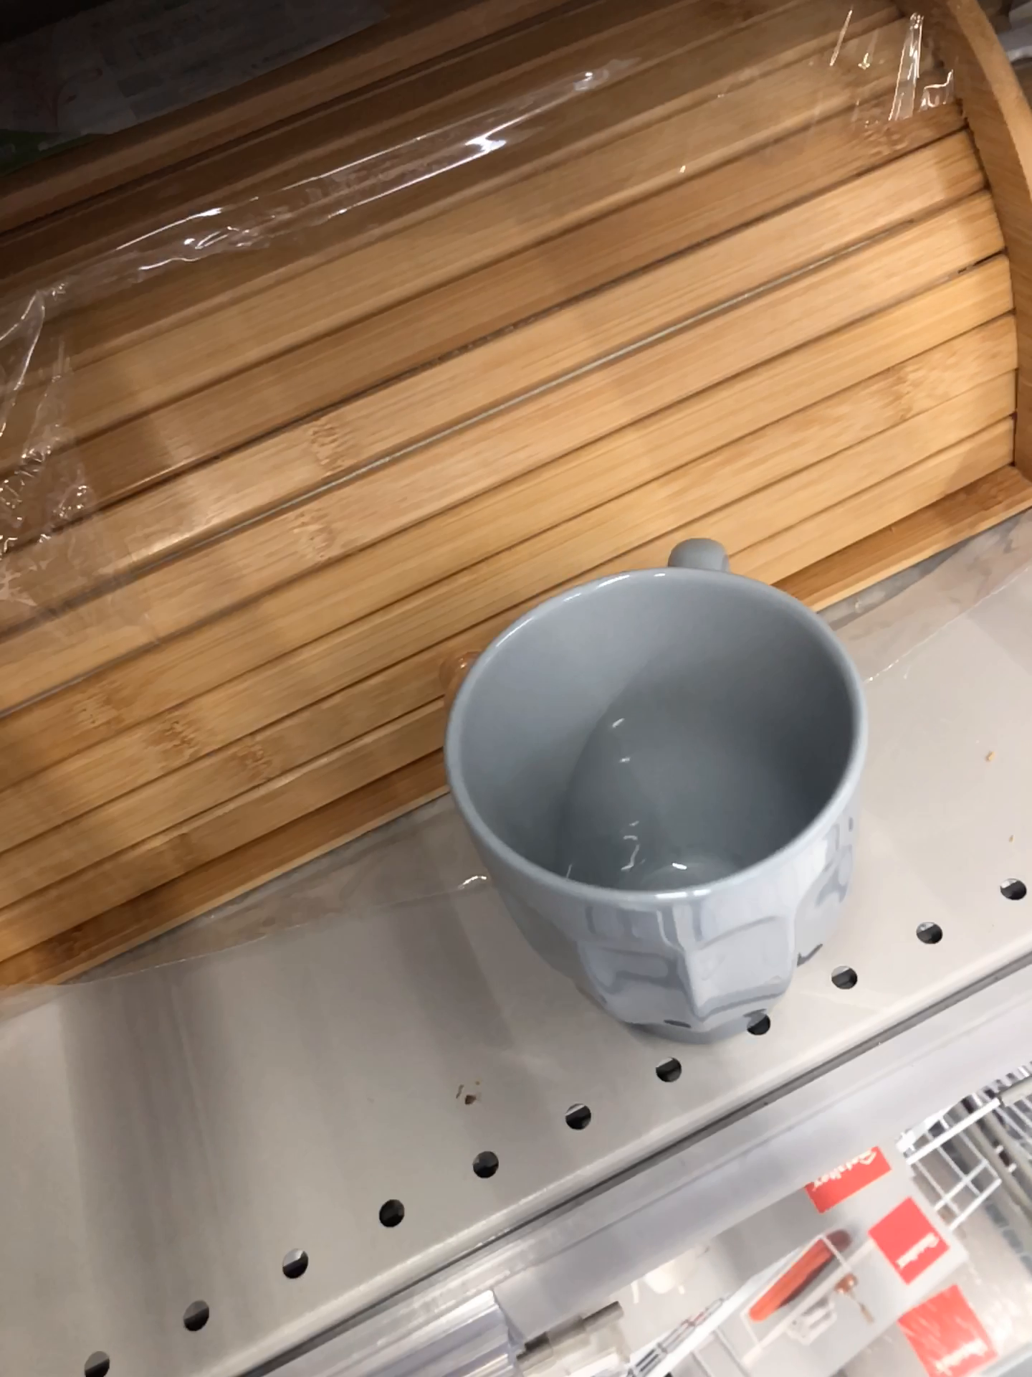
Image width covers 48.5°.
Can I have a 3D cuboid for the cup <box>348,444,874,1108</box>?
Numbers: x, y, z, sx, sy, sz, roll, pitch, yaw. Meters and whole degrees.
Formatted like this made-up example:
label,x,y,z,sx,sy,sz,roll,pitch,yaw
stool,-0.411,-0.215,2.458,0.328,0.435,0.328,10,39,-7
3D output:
label,x,y,z,sx,sy,sz,roll,pitch,yaw
cup,0.033,0.019,0.268,0.092,0.091,0.117,0,51,15
